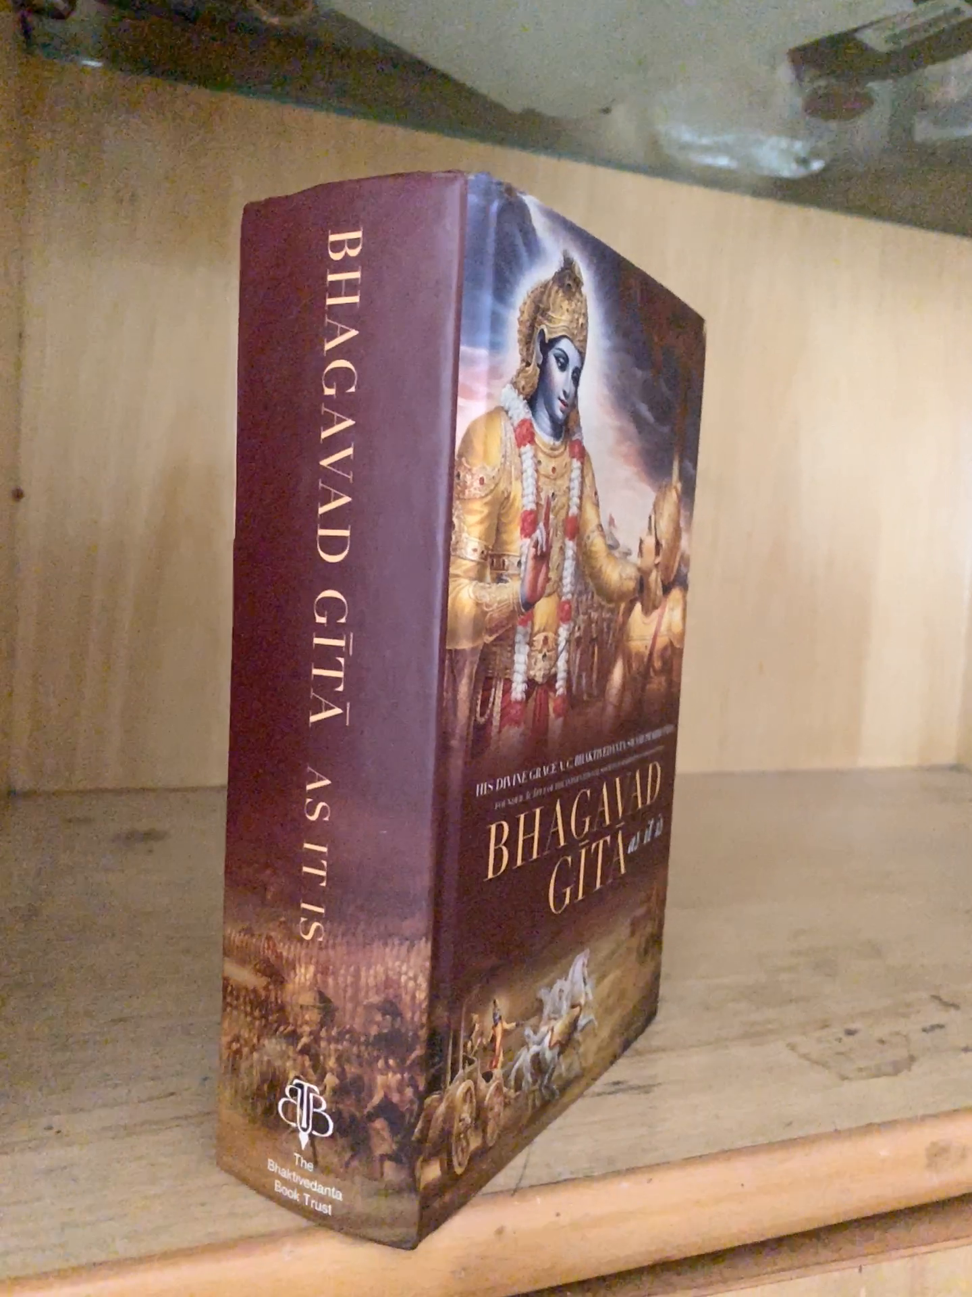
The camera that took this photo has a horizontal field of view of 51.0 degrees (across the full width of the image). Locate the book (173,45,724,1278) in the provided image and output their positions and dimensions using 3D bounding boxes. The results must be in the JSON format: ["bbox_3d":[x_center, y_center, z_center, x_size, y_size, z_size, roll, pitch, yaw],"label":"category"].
[{"bbox_3d":[0.001,0.000,0.259,0.070,0.220,0.140,4,4,30],"label":"book"}]
